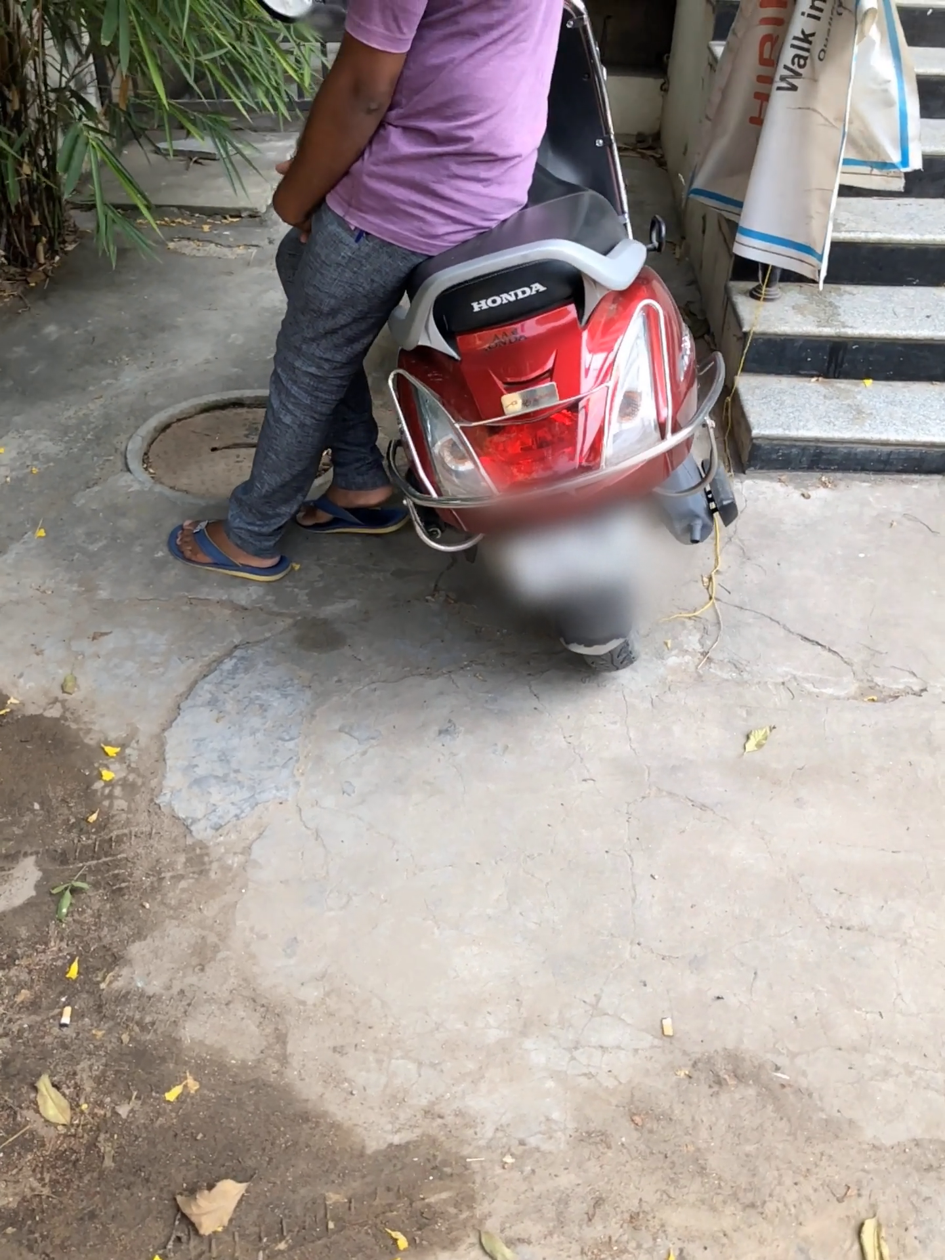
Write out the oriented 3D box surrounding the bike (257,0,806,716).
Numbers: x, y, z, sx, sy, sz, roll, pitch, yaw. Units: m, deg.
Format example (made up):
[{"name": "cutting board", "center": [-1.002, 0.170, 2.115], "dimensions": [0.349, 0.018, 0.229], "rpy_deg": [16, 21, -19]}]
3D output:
[{"name": "bike", "center": [-0.006, -0.791, 1.938], "dimensions": [0.572, 1.056, 1.486], "rpy_deg": [-3, 40, -5]}]
